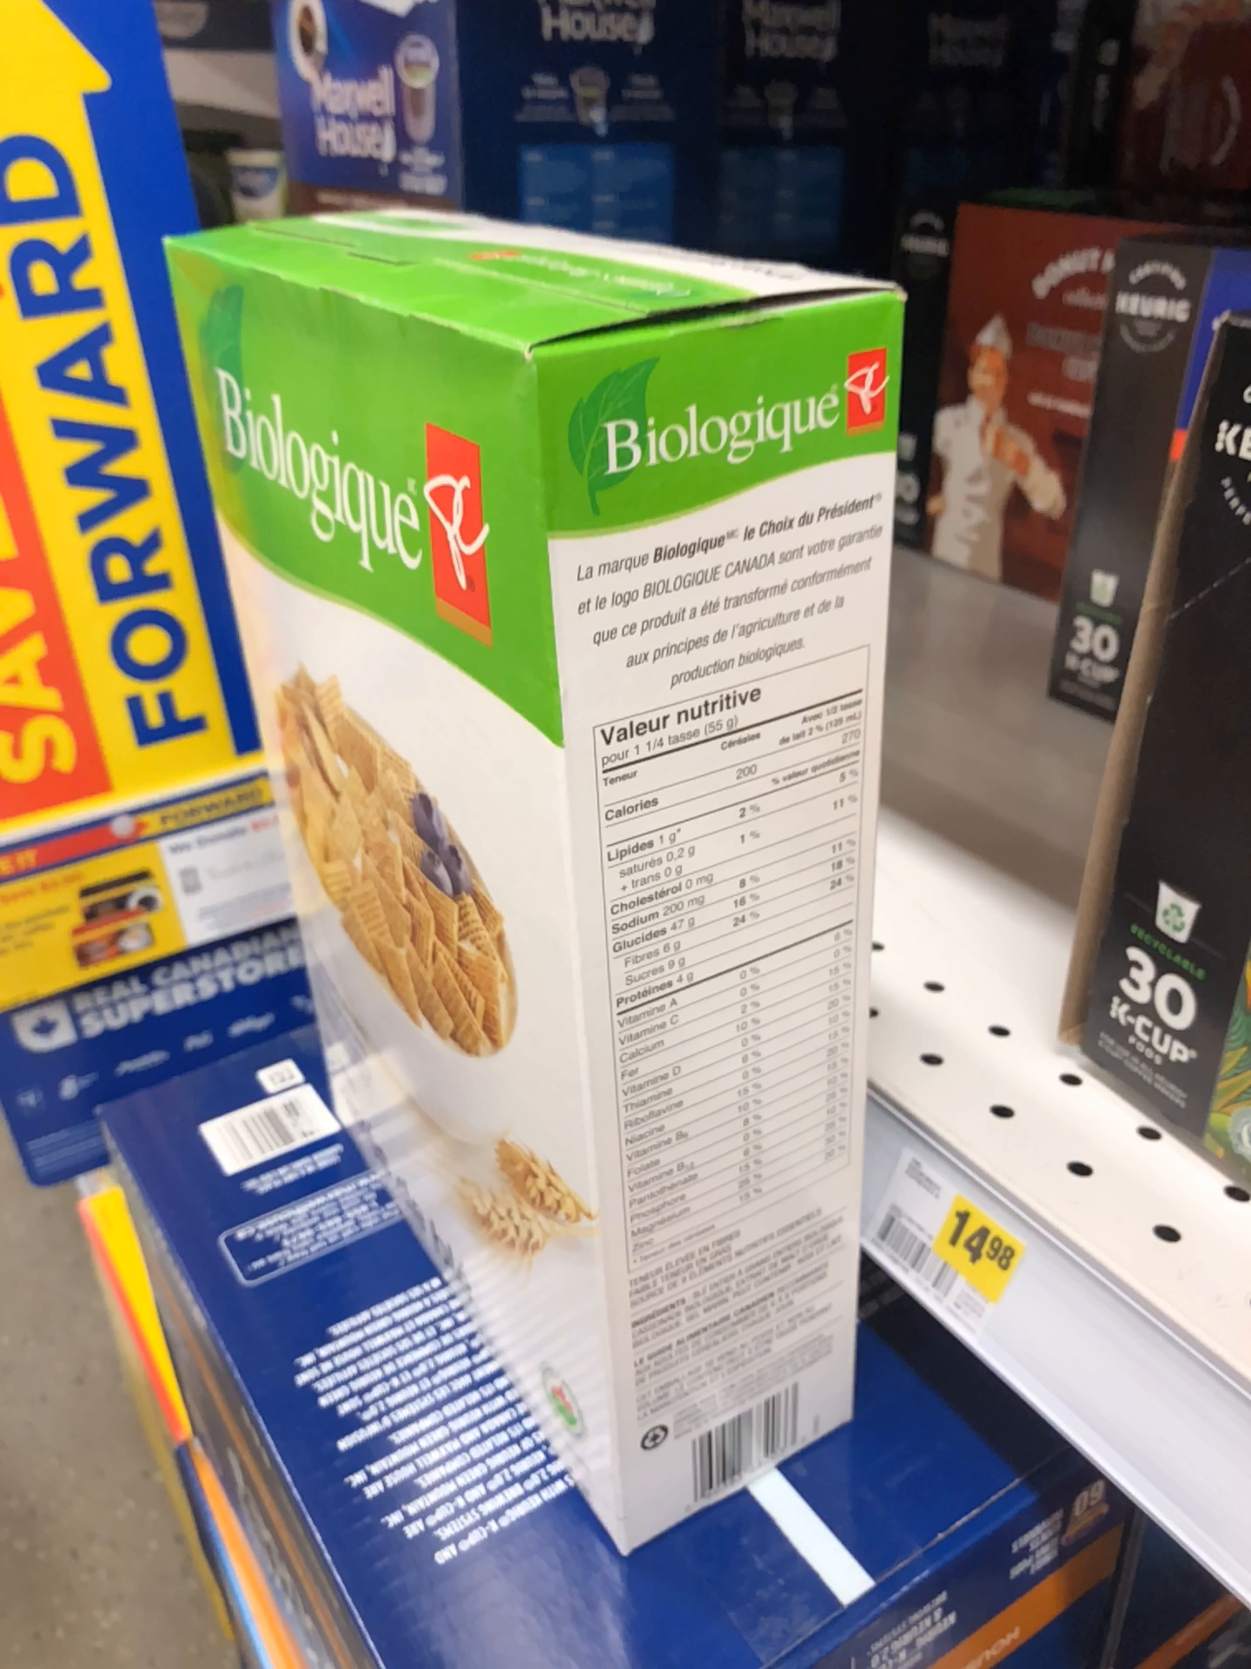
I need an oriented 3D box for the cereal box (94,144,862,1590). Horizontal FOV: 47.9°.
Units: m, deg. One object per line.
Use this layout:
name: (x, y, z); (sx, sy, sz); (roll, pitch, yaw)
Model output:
cereal box: (-0.036, -0.004, 0.348); (0.070, 0.289, 0.211); (-19, 33, -23)
